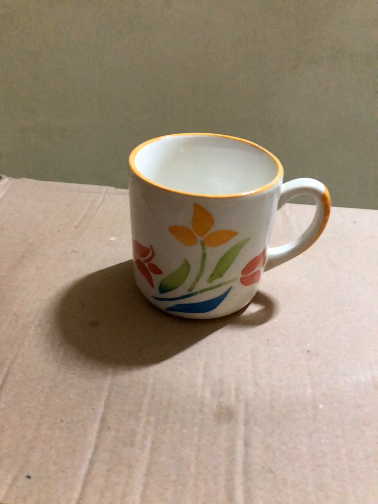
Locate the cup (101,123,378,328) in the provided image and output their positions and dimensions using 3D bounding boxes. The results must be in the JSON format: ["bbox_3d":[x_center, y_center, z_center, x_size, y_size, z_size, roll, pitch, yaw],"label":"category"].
[{"bbox_3d":[0.021,-0.019,0.236,0.120,0.079,0.091,0,33,-2],"label":"cup"}]
